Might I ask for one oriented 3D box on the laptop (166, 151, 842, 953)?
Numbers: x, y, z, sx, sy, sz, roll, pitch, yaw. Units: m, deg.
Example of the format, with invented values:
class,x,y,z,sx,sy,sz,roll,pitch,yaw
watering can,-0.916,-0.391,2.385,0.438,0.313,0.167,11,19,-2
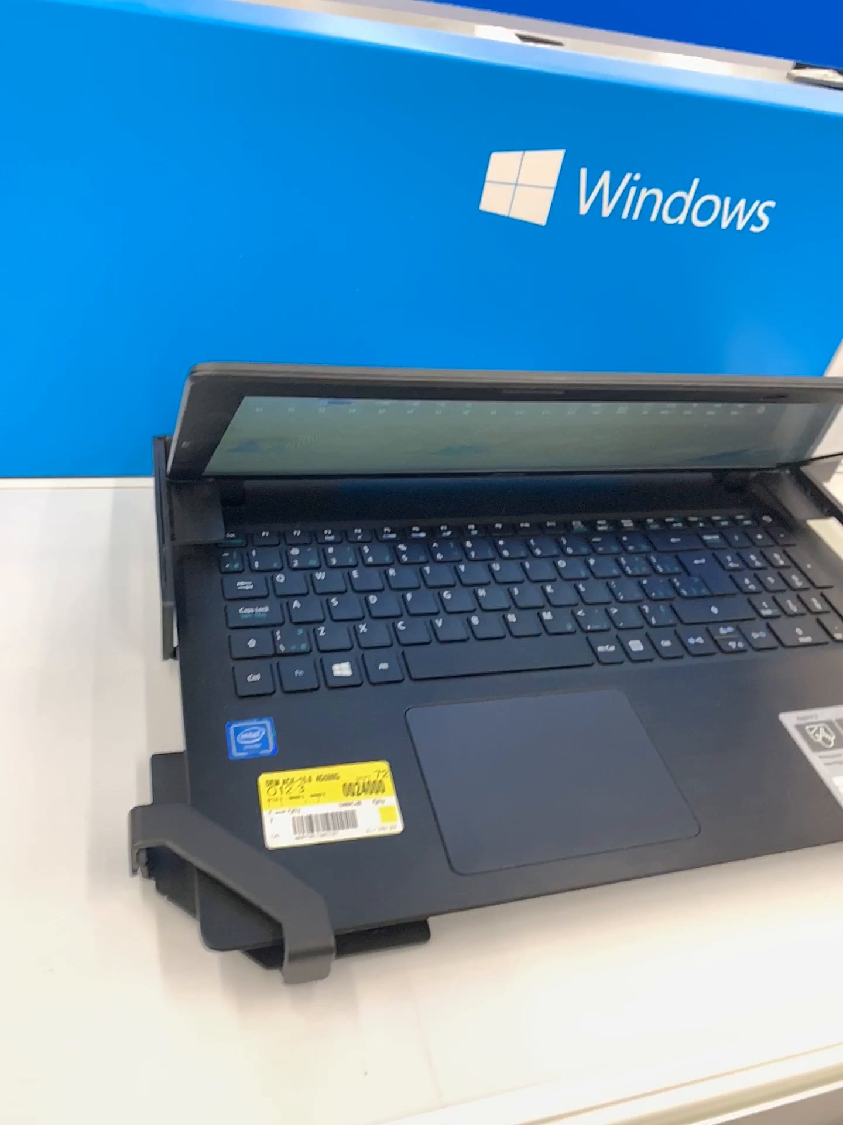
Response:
class,x,y,z,sx,sy,sz,roll,pitch,yaw
laptop,0.085,-0.027,0.340,0.344,0.147,0.227,-2,42,-19
